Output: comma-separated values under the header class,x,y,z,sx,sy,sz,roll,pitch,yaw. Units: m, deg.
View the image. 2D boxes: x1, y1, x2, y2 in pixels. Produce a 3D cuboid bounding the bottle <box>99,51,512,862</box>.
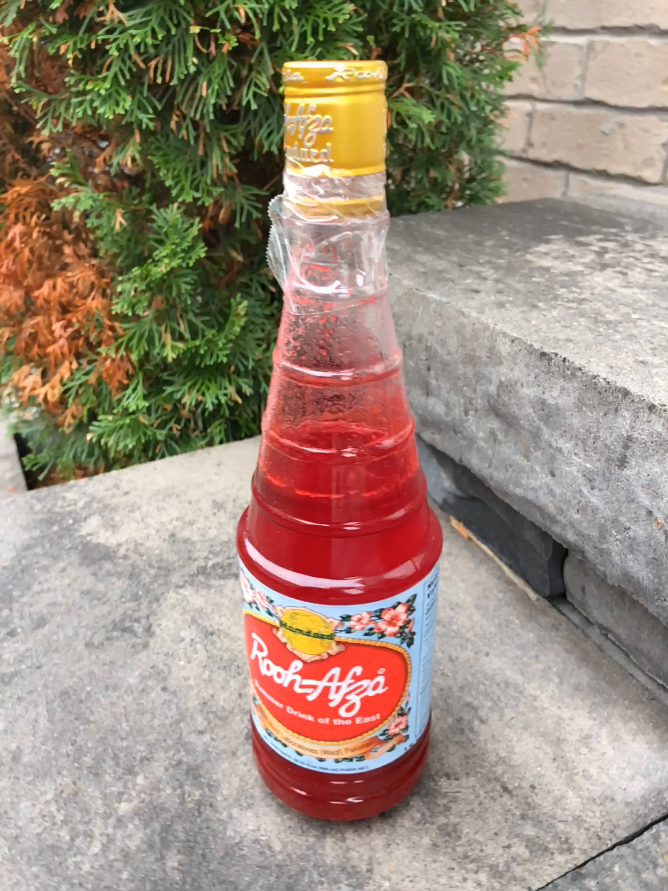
class,x,y,z,sx,sy,sz,roll,pitch,yaw
bottle,-0.002,0.014,0.274,0.090,0.279,0.080,11,30,21
